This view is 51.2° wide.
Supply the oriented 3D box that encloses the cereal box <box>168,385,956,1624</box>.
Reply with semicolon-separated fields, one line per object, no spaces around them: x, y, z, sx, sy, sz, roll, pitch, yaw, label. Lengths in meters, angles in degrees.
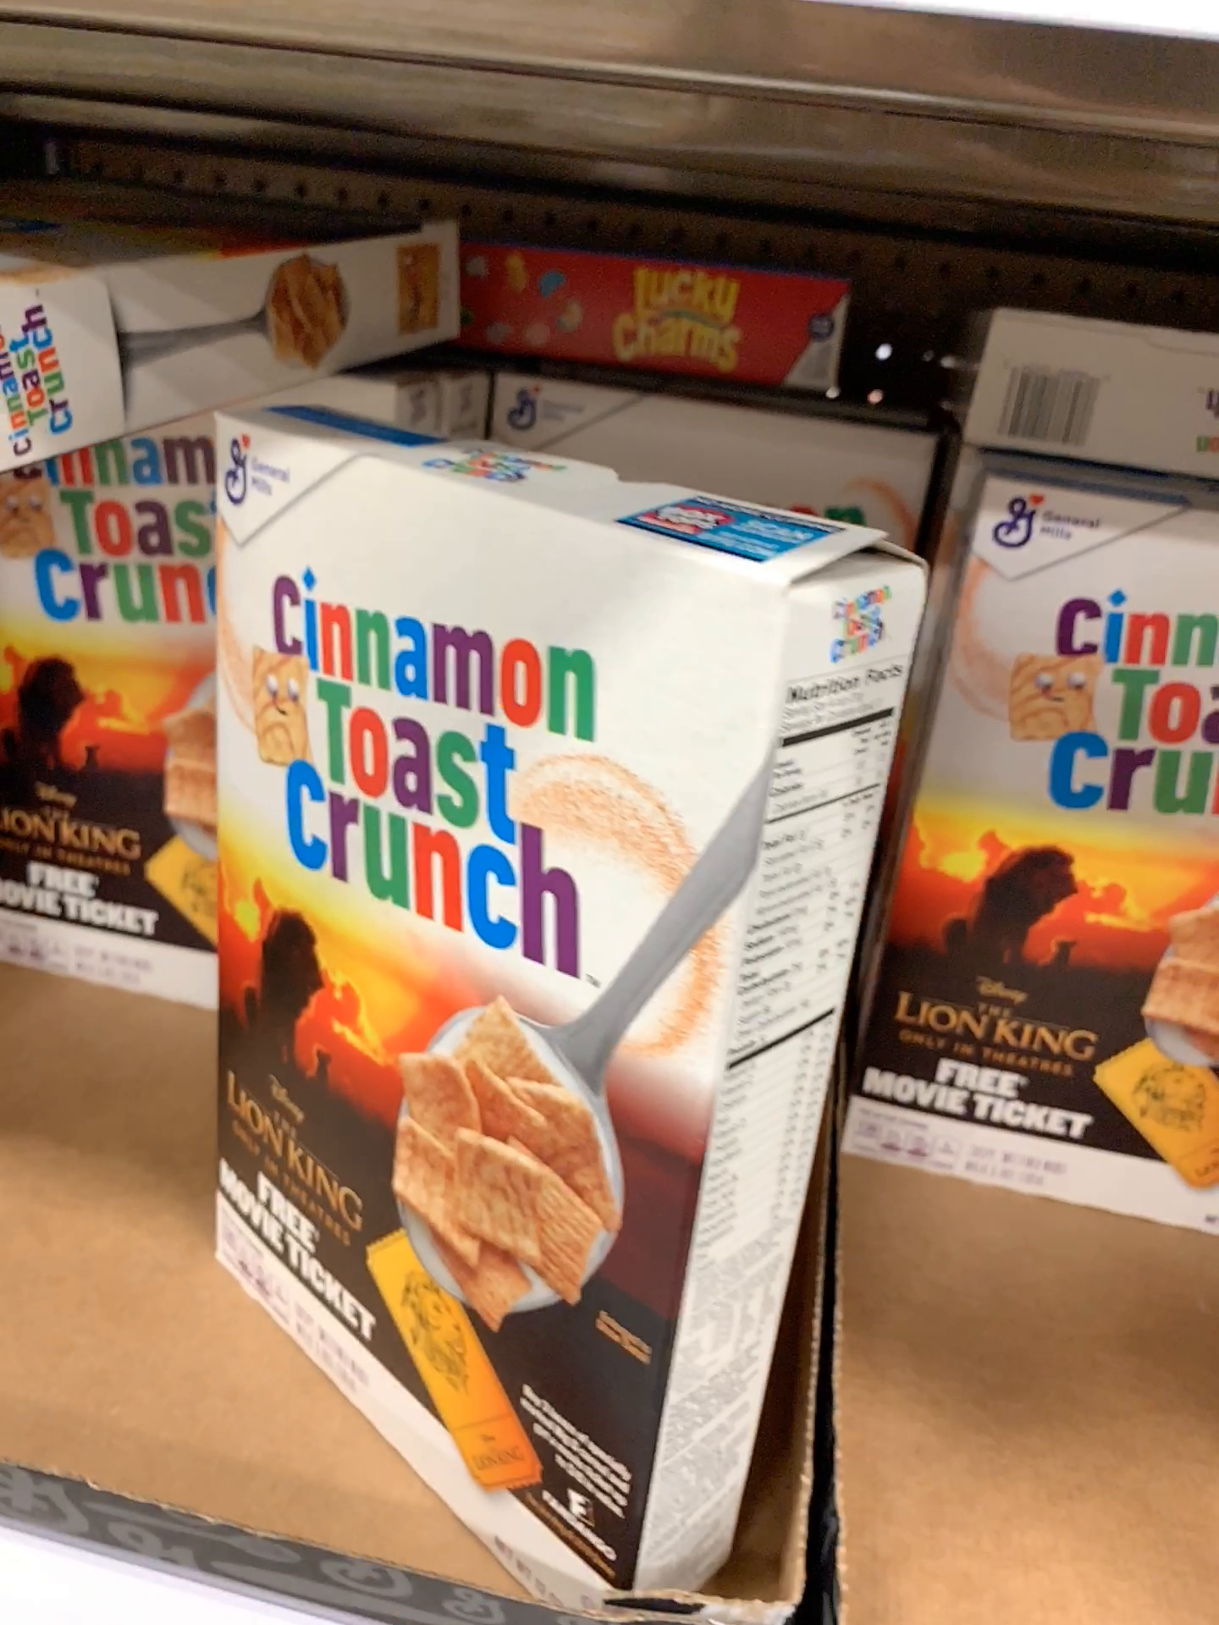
-0.035;0.046;0.336;0.190;0.279;0.060;25;29;38;cereal box
